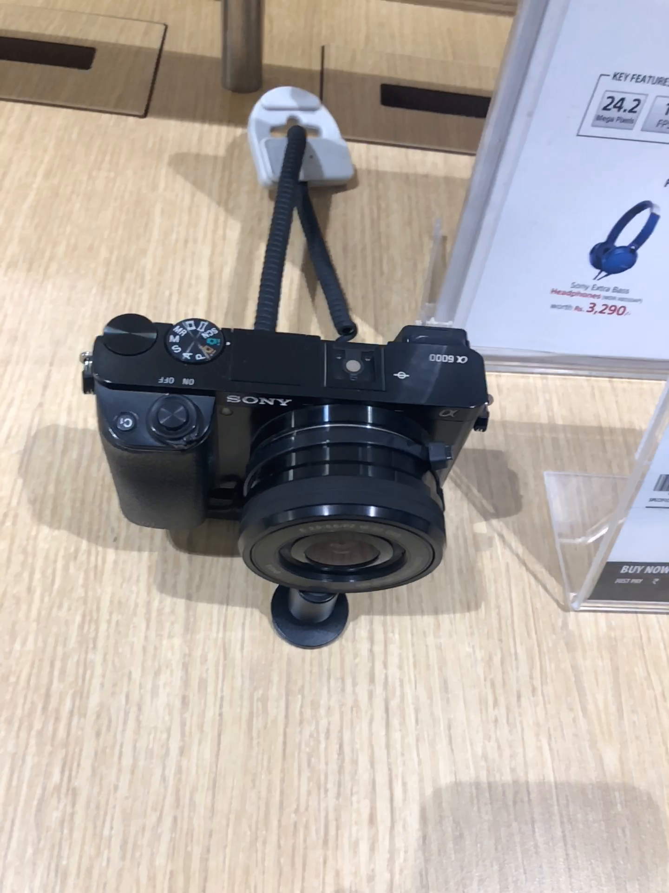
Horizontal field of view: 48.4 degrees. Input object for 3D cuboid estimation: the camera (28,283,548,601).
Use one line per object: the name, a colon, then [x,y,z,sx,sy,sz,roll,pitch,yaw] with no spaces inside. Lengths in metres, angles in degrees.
camera: [-0.014,0.003,0.234,0.130,0.070,0.070,2,58,-7]
